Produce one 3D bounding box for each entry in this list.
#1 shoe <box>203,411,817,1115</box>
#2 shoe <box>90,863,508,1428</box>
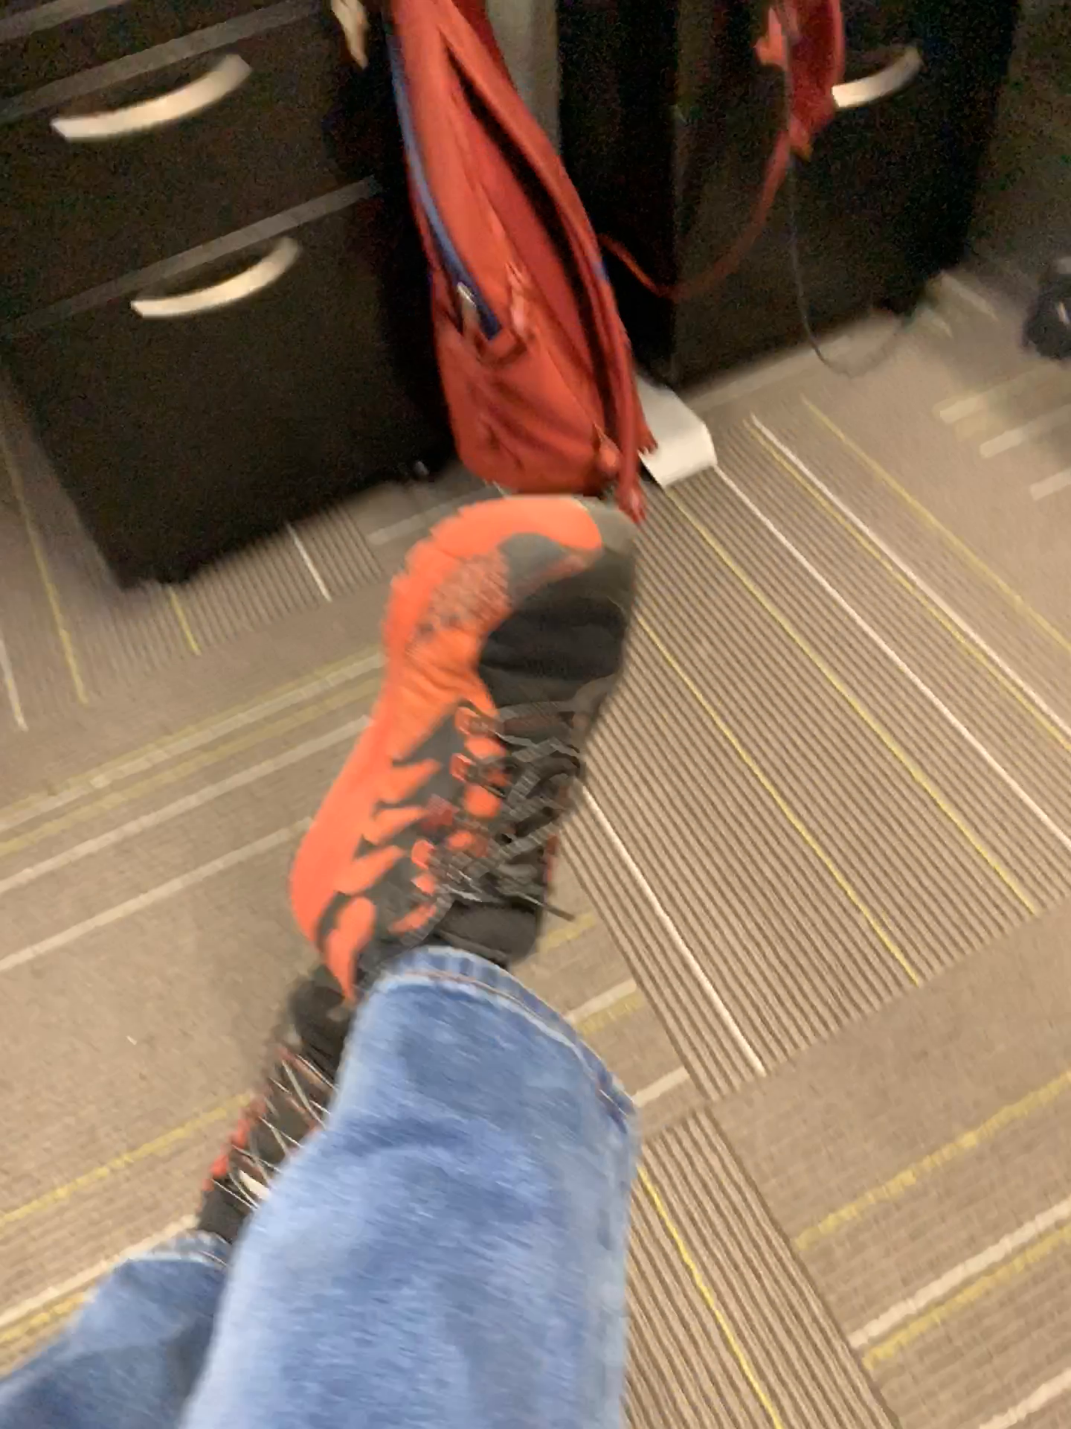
[{"bbox_3d":[-0.035,0.033,0.520,0.118,0.303,0.143,-6,50,-42],"label":"shoe"},{"bbox_3d":[-0.141,0.260,0.676,0.129,0.135,0.289,20,99,19],"label":"shoe"}]
